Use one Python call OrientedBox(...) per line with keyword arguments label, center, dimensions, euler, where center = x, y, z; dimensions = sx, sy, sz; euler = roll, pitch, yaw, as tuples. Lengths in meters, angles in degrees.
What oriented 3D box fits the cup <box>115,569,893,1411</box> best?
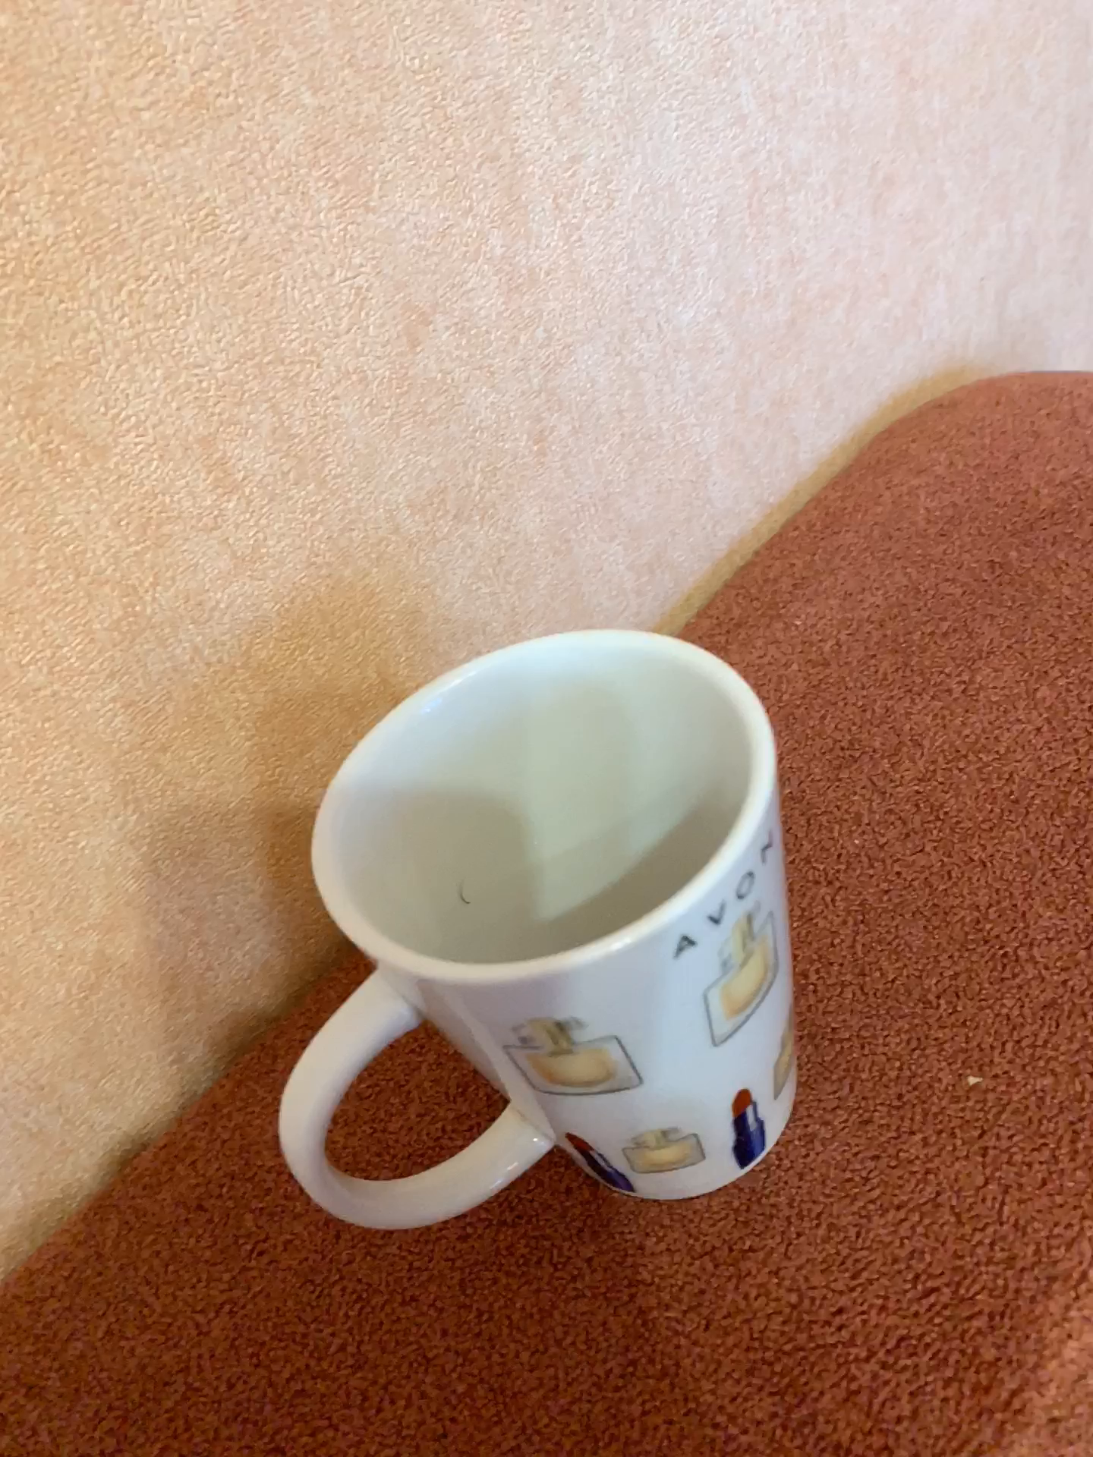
OrientedBox(label="cup", center=(-0.001, 0.046, 0.213), dimensions=(0.103, 0.093, 0.071), euler=(-36, 44, -17))
